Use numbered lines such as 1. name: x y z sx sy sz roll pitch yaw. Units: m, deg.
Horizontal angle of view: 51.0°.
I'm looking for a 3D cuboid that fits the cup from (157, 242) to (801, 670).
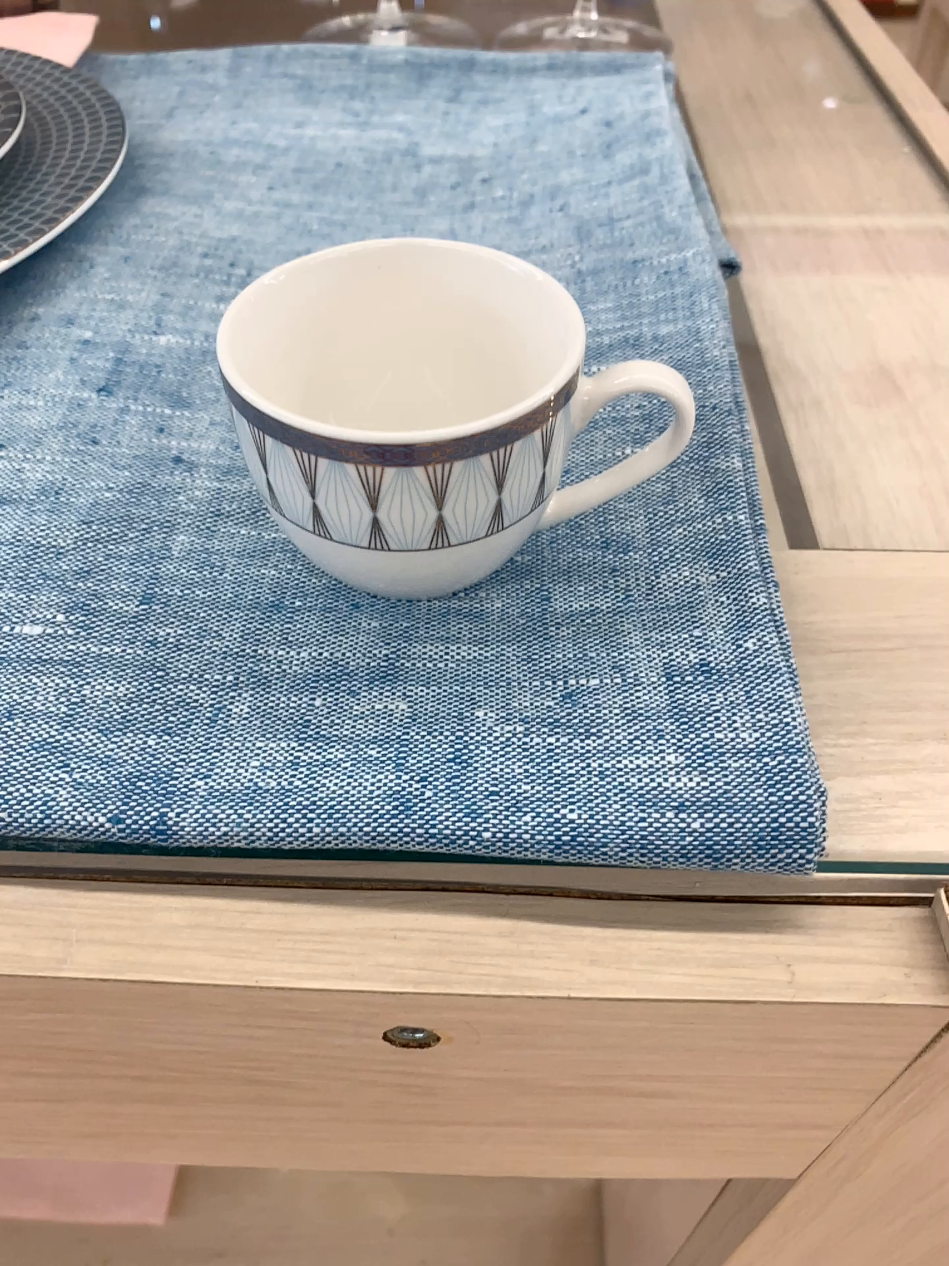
1. cup: 0.001 -0.034 0.178 0.090 0.040 0.070 1 46 0
